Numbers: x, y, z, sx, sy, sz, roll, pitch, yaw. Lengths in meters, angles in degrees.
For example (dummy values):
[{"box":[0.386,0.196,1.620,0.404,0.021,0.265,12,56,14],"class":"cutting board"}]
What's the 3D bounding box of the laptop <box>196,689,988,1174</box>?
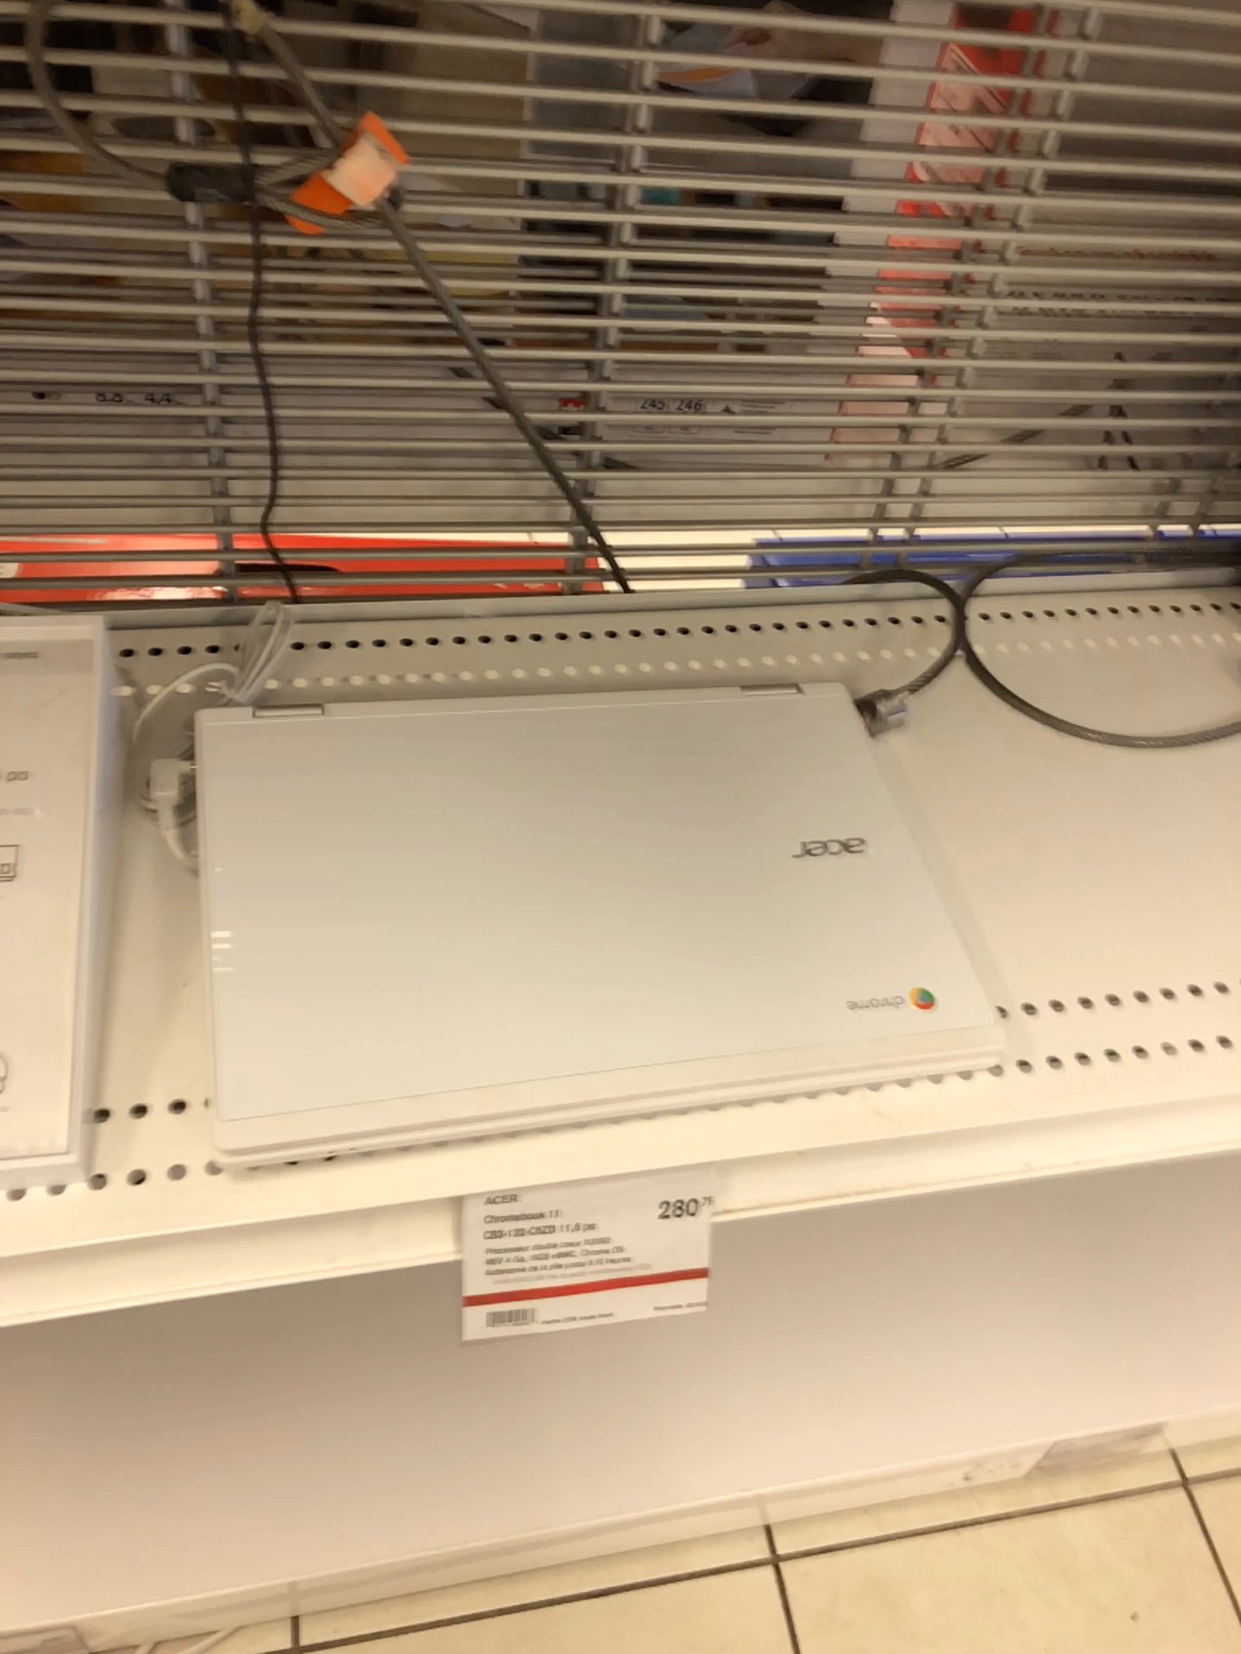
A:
[{"box":[-0.017,0.029,0.554,0.286,0.024,0.184,-4,57,-14],"class":"laptop"}]
